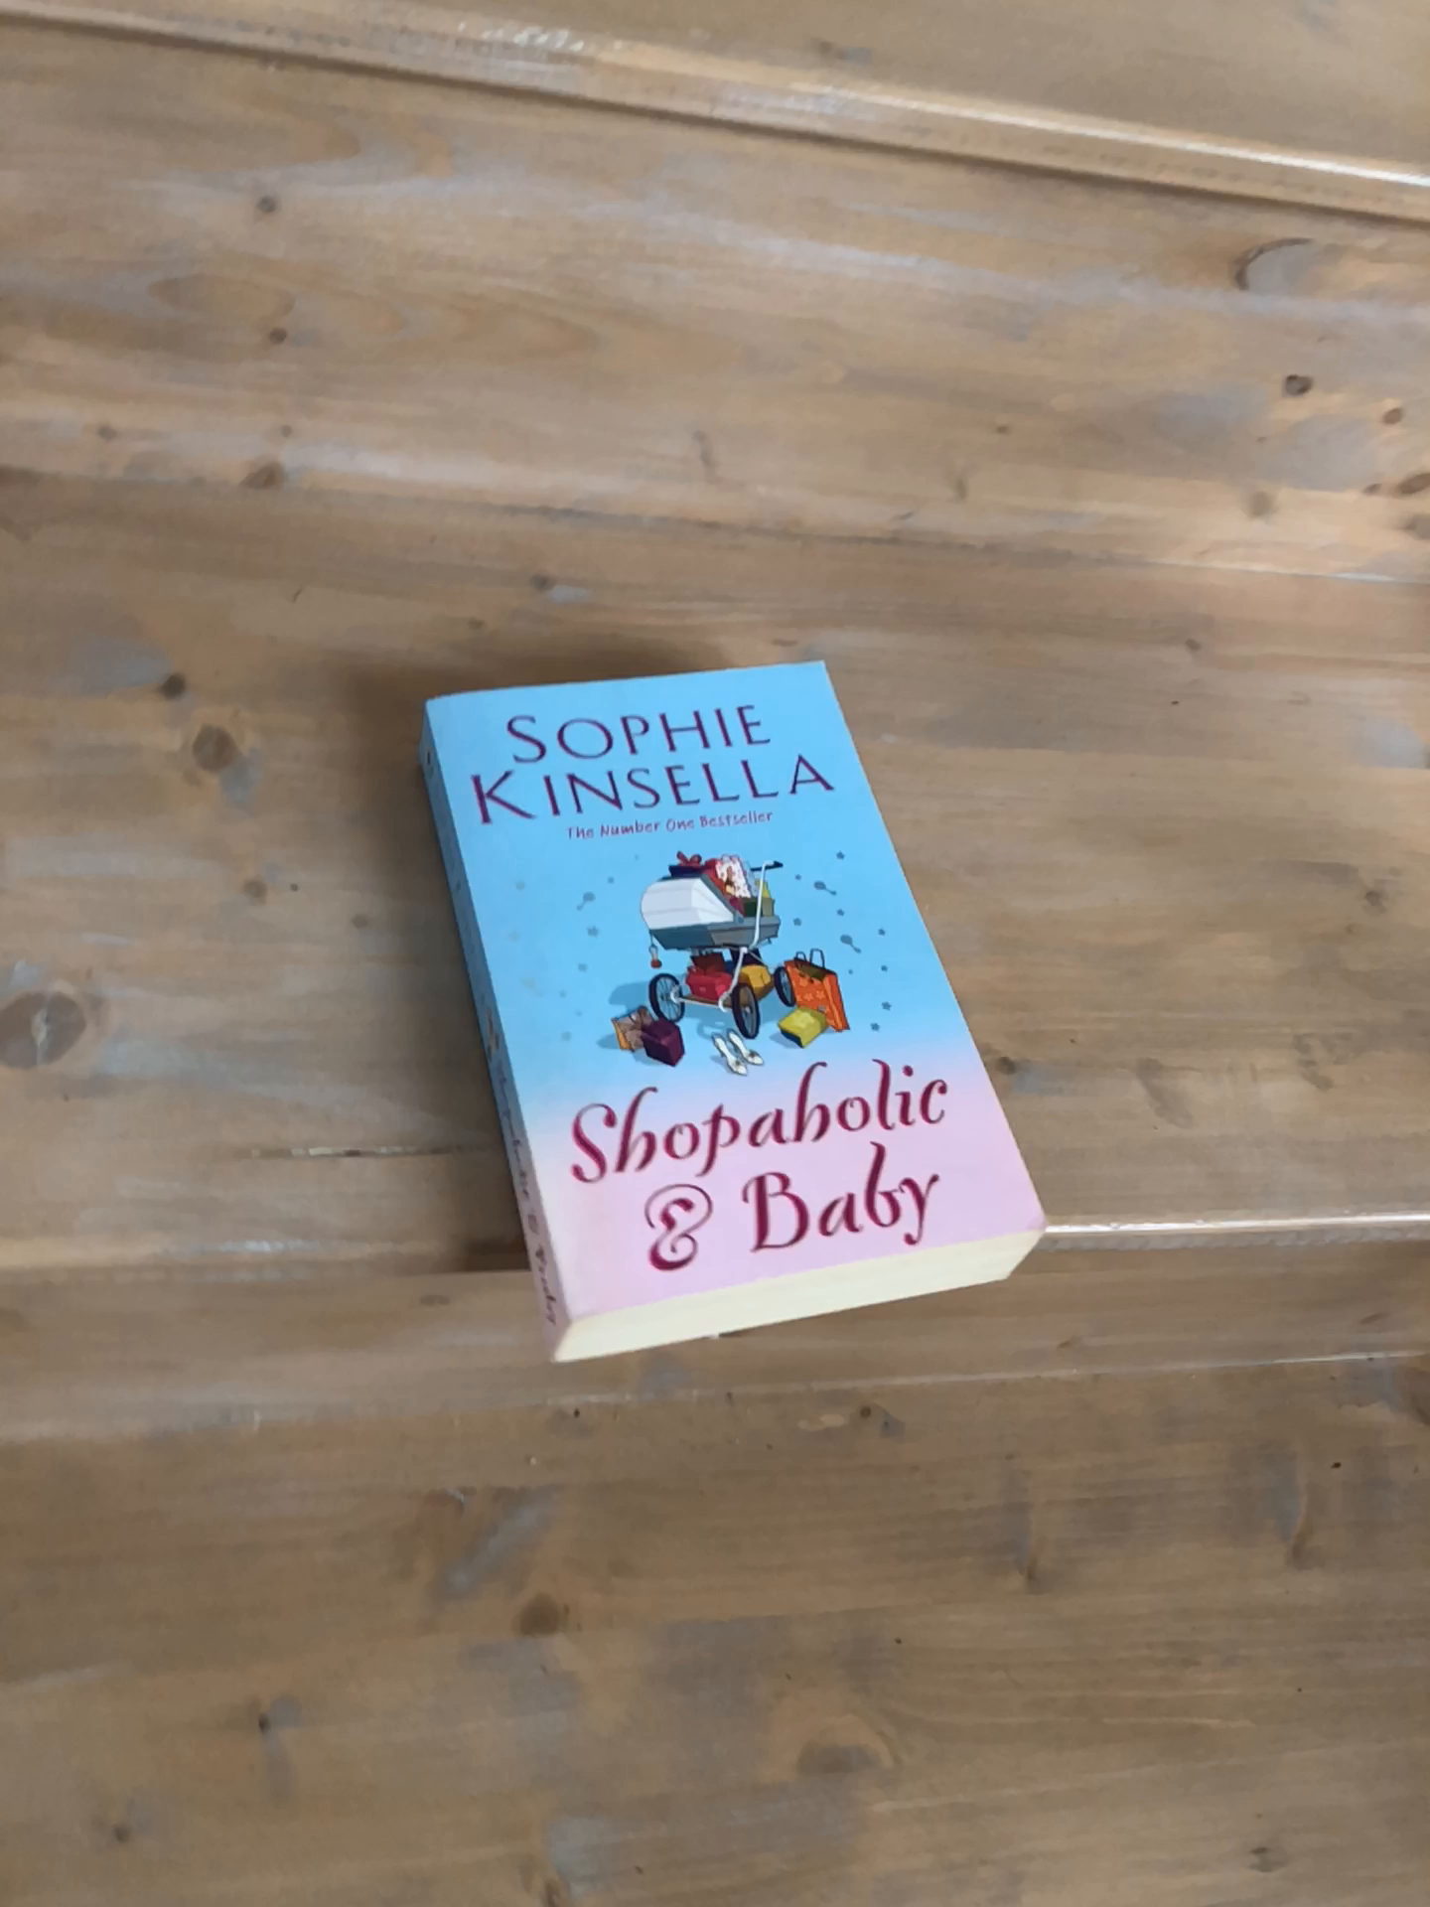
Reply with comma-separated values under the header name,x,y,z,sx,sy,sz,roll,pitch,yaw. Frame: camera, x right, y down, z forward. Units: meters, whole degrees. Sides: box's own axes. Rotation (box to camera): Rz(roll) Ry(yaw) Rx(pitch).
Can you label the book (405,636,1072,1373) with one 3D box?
name,x,y,z,sx,sy,sz,roll,pitch,yaw
book,-0.004,-0.001,0.445,0.131,0.031,0.211,-8,56,-18
